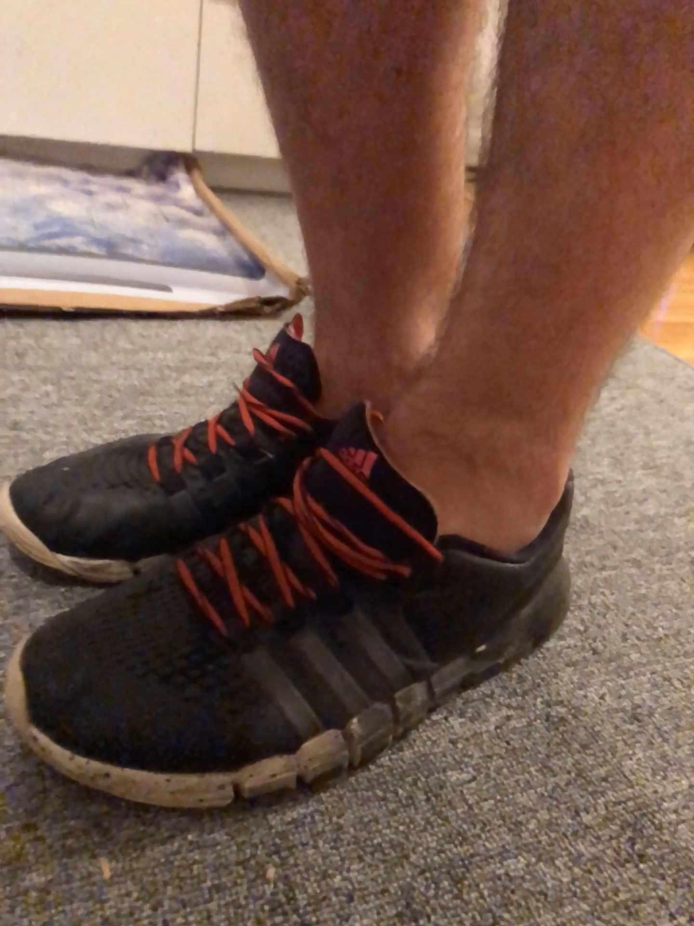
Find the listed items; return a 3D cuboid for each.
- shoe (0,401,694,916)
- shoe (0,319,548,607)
[{"bbox_3d":[0.006,0.056,0.365,0.321,0.089,0.131,-10,35,-31],"label":"shoe"},{"bbox_3d":[-0.051,-0.015,0.457,0.300,0.099,0.121,-4,33,-24],"label":"shoe"}]
